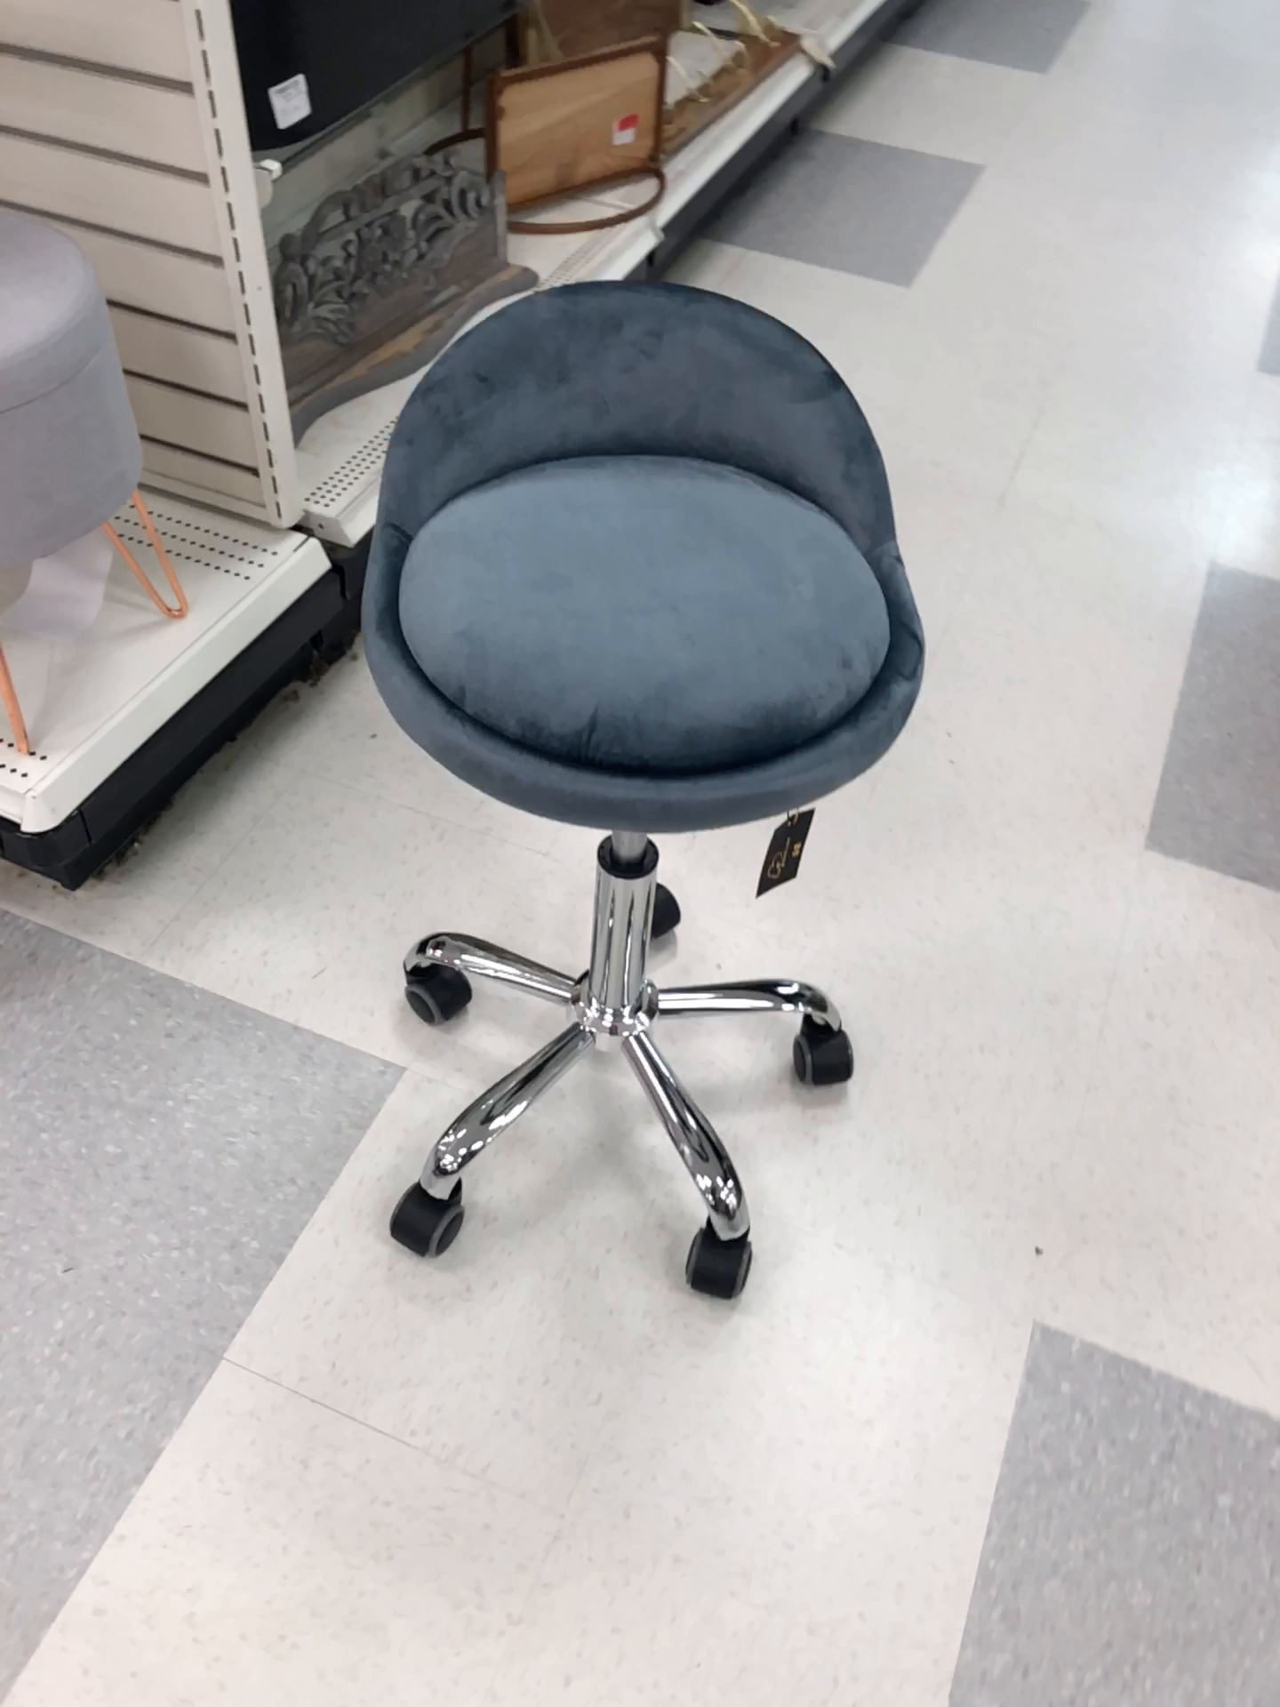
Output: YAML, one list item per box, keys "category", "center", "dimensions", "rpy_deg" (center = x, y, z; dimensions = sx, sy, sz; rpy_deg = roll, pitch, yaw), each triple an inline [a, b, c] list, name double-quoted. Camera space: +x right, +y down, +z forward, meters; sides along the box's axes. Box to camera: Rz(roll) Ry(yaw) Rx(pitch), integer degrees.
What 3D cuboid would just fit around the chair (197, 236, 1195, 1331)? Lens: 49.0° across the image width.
- category: "chair"
  center: [0.023, -0.027, 1.061]
  dimensions: [0.474, 0.630, 0.485]
  rpy_deg: [5, 47, 0]
